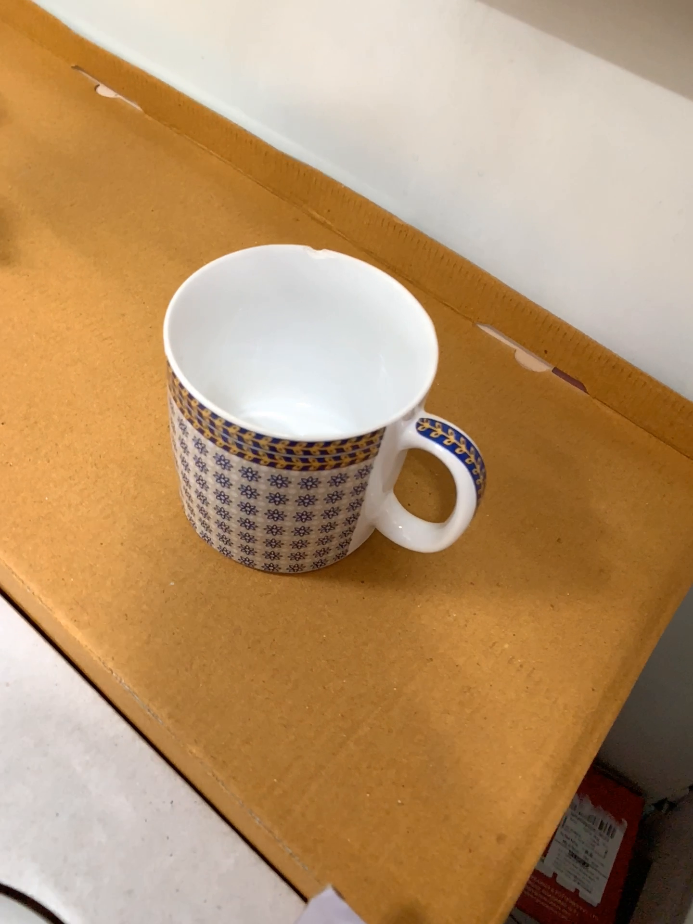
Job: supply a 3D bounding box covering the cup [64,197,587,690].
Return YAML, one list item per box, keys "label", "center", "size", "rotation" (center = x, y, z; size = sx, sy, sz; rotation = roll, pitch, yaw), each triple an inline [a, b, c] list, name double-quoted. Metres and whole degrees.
- label: "cup"
  center: [-0.006, -0.009, 0.211]
  size: [0.110, 0.070, 0.080]
  rotation: [28, 51, 12]
